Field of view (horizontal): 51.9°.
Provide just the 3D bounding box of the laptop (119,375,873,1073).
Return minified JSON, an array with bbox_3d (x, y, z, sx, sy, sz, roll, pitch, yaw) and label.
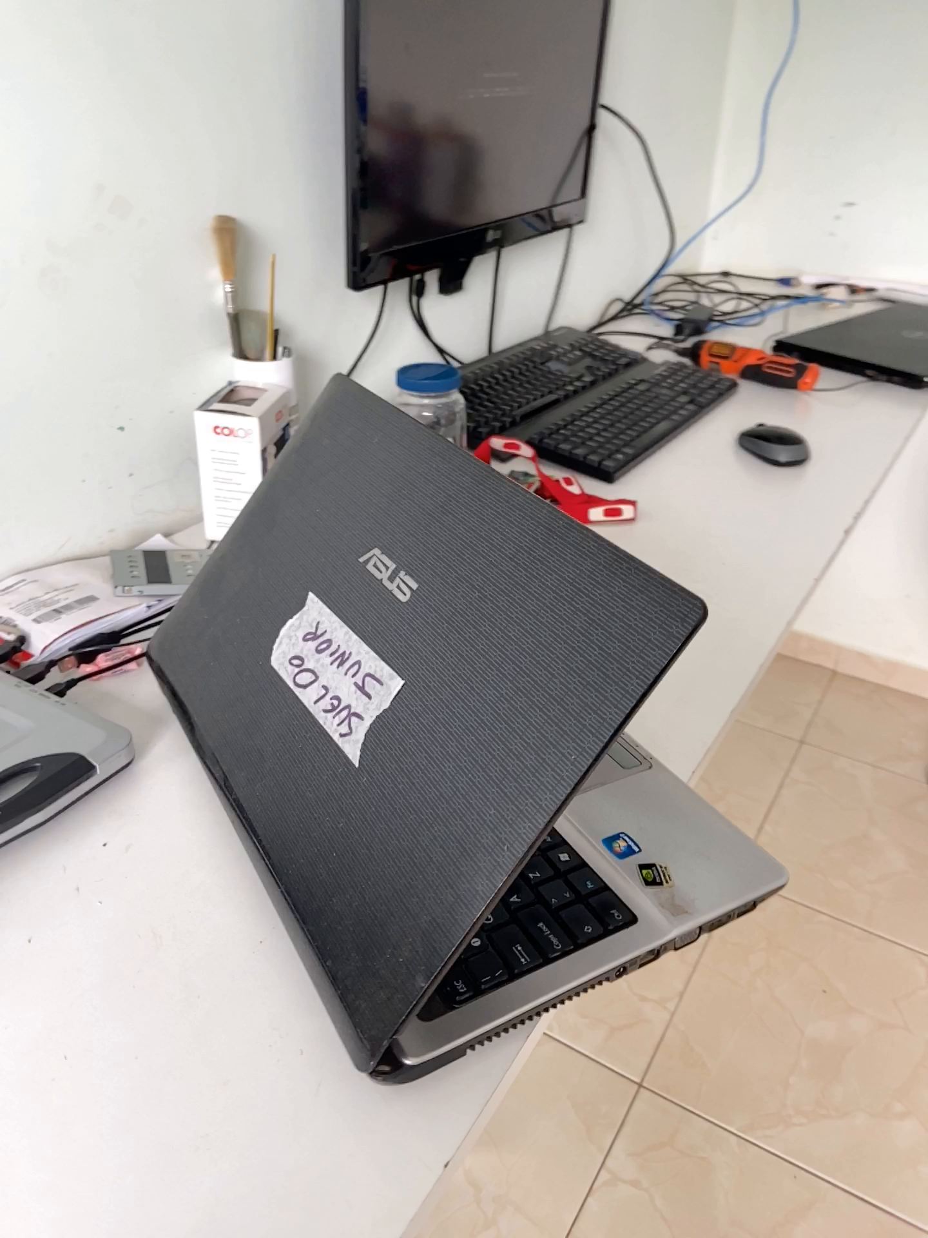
[{"bbox_3d":[-0.017,0.005,0.558,0.246,0.182,0.377,-15,32,-26],"label":"laptop"}]
